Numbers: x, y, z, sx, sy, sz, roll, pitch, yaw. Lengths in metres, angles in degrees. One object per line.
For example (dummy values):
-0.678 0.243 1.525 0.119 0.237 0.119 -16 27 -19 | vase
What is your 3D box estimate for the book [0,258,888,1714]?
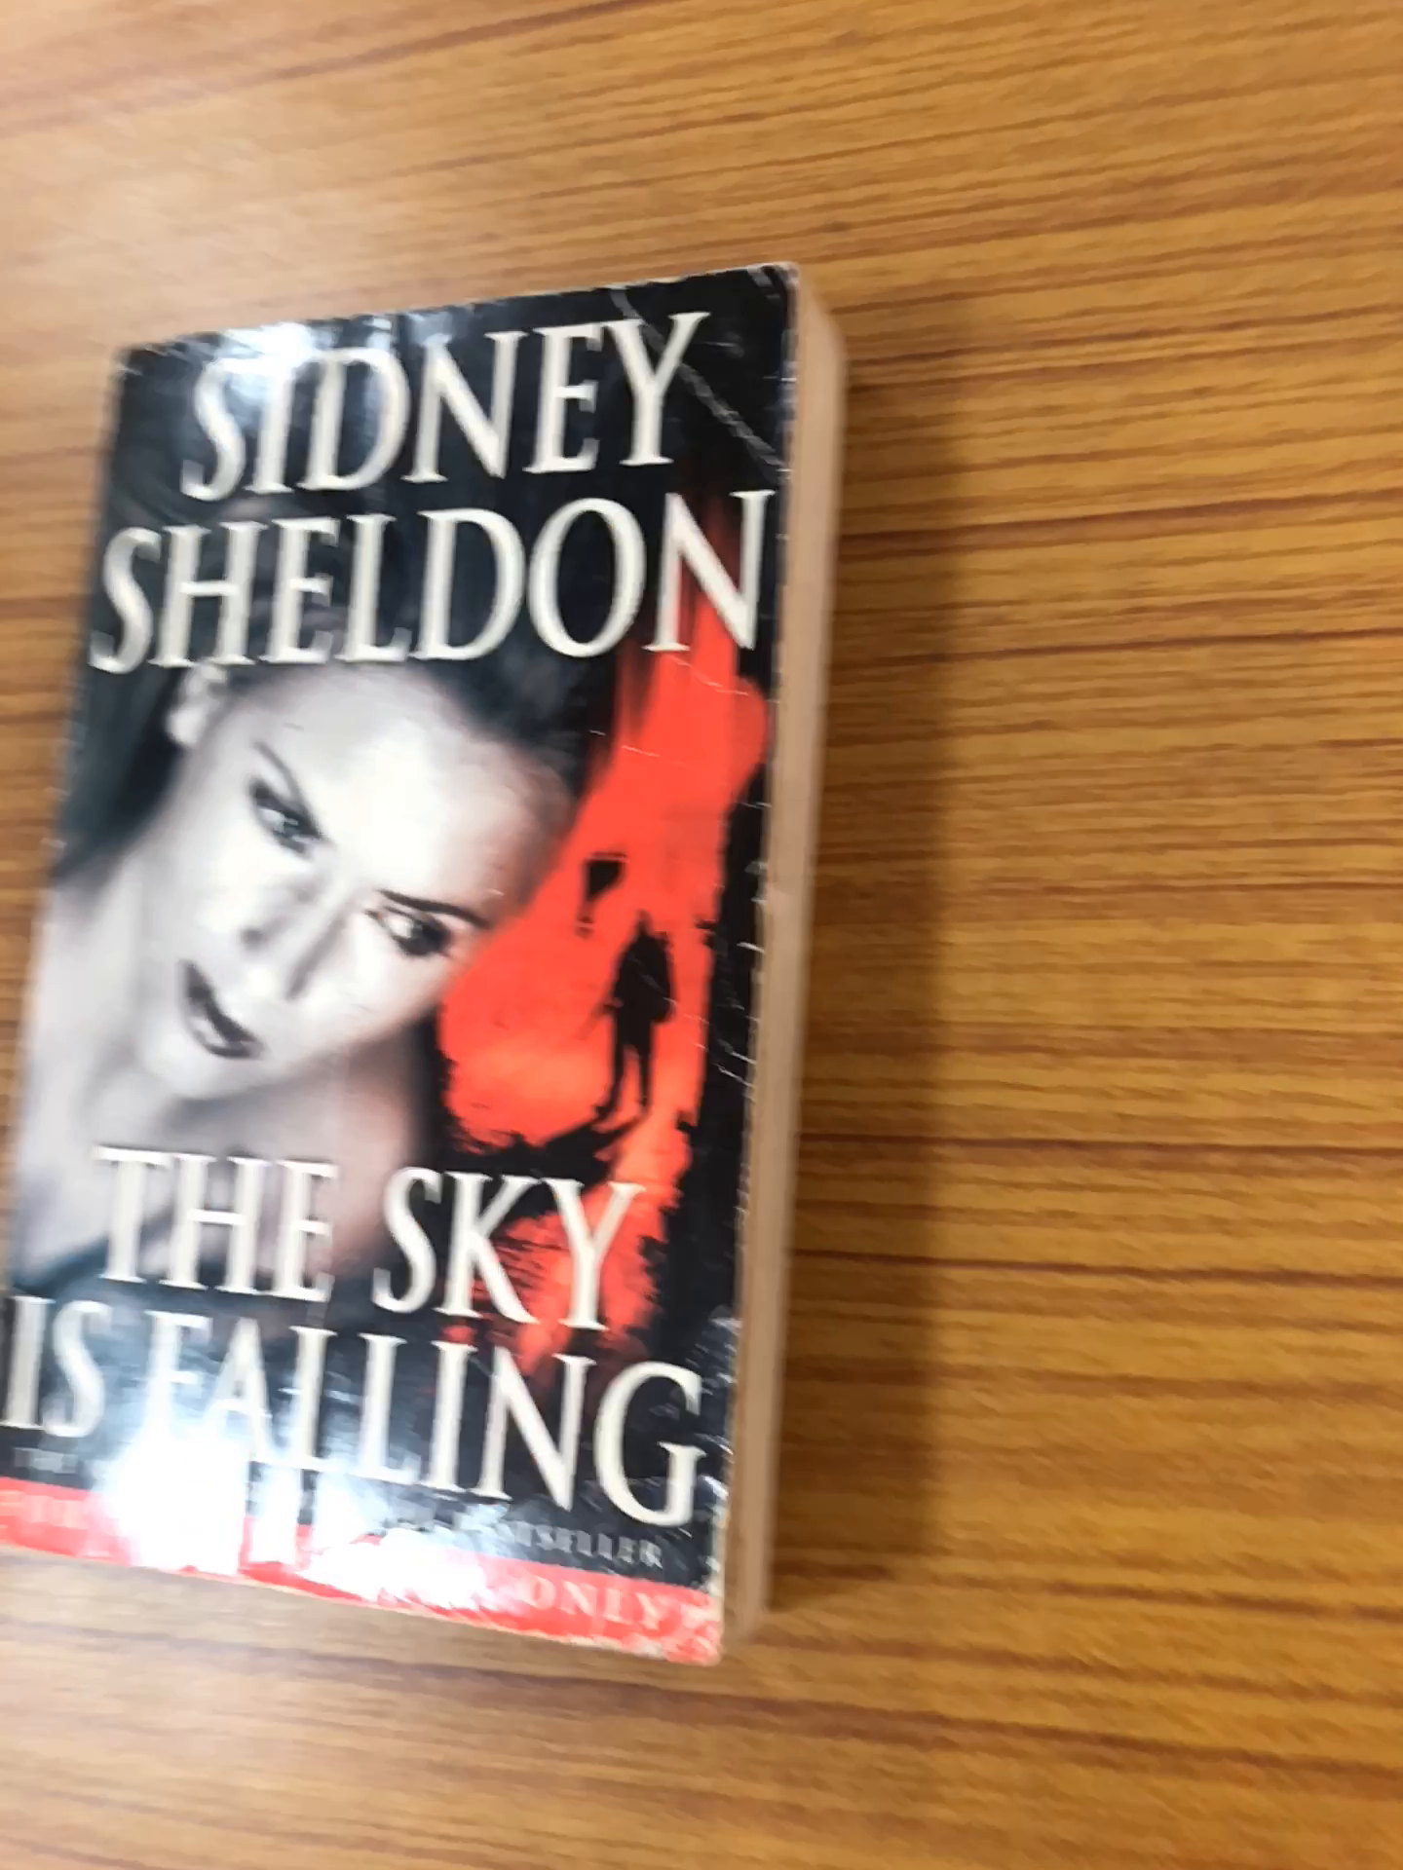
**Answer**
-0.042 0.002 0.216 0.120 0.030 0.170 2 83 18 | book
